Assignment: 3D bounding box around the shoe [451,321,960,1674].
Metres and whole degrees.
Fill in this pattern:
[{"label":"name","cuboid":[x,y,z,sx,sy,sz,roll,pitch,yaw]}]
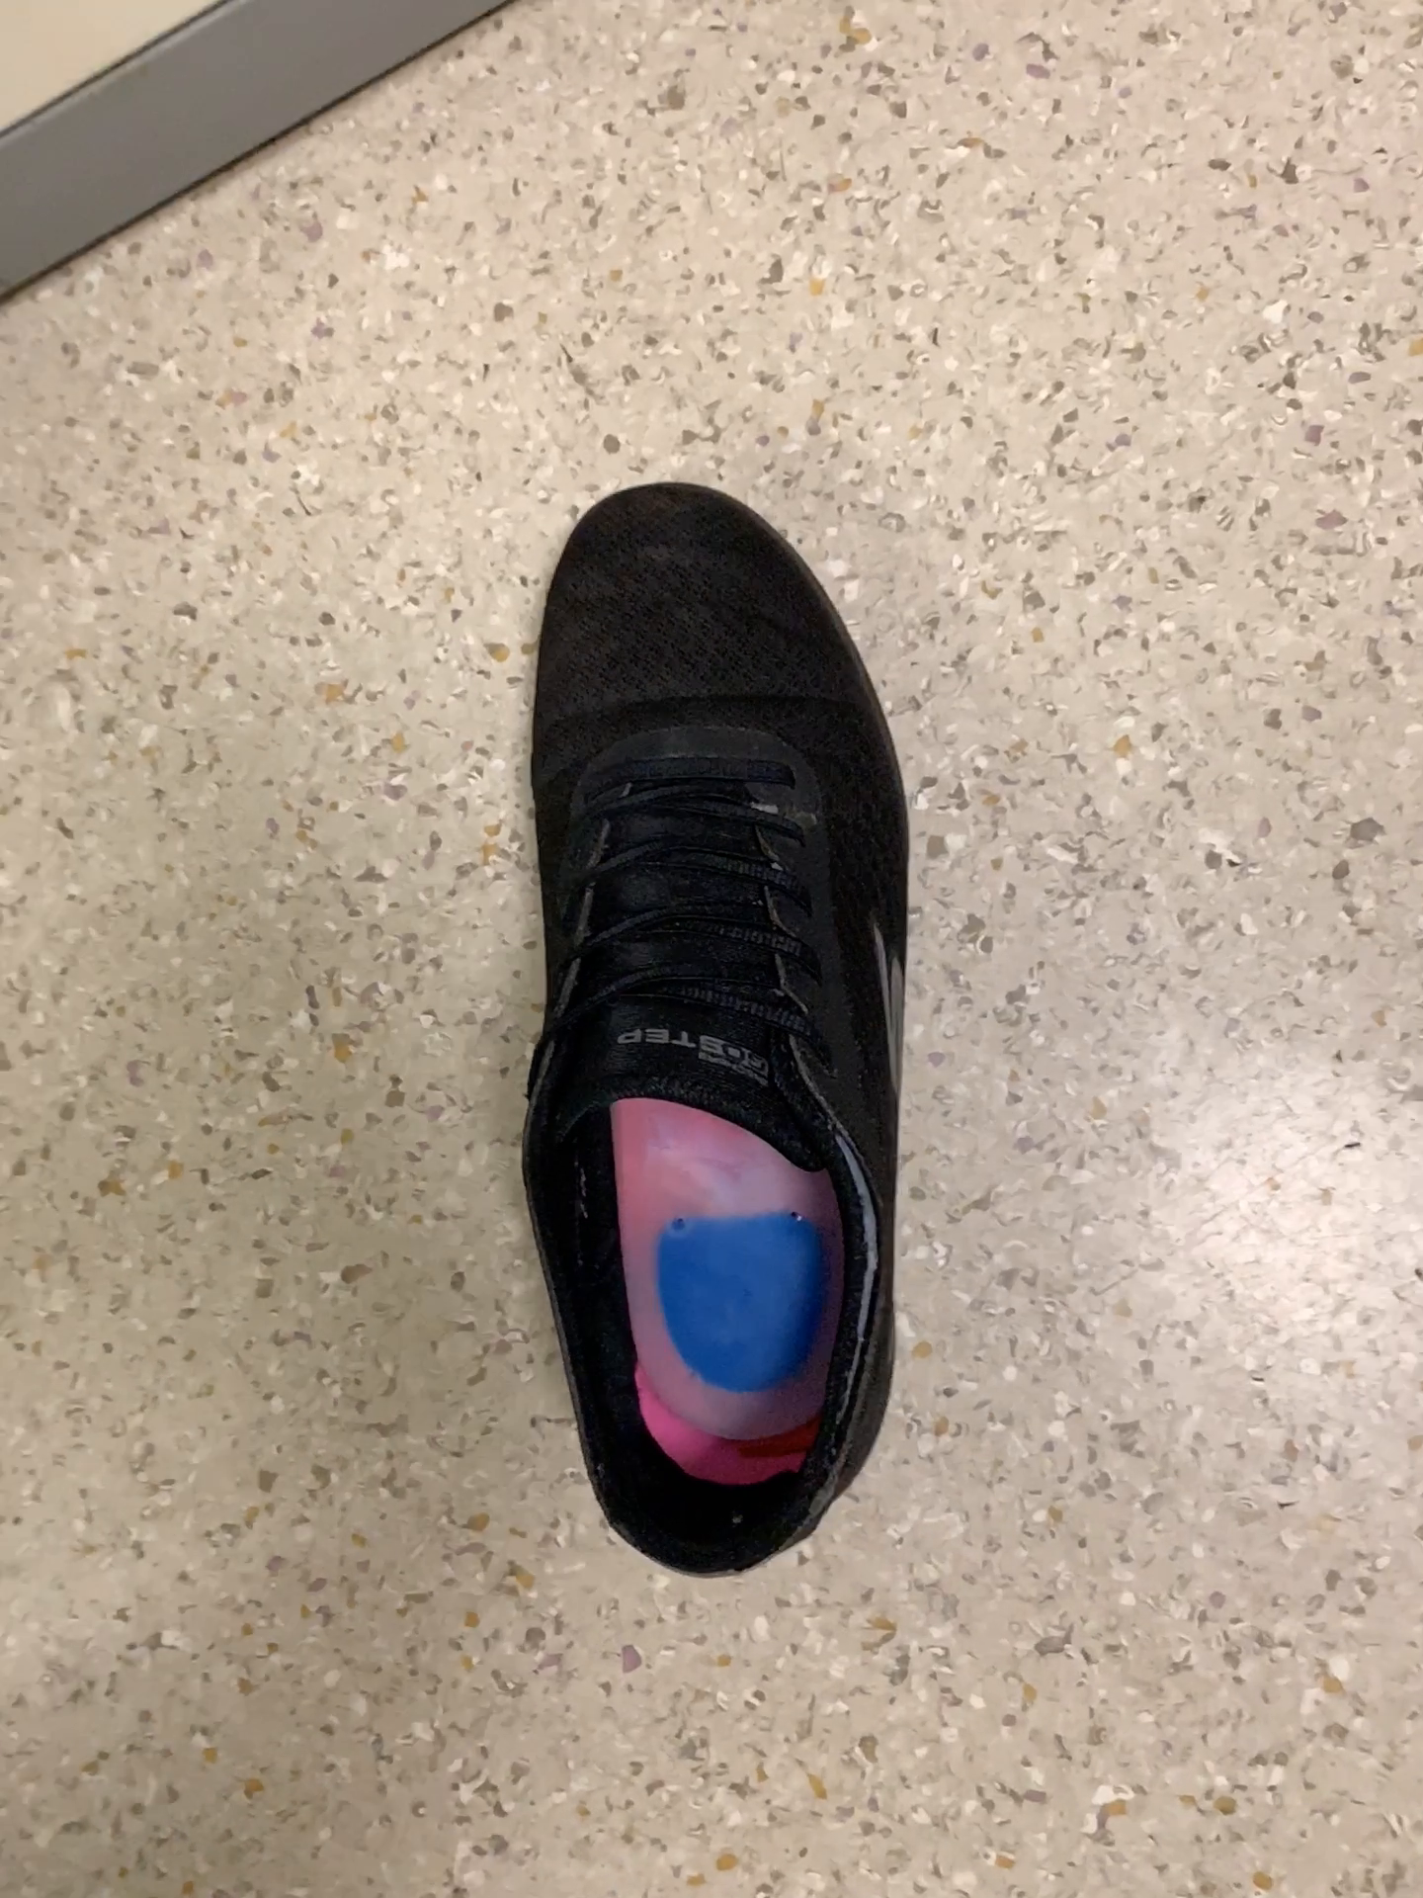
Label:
[{"label":"shoe","cuboid":[0.004,0.009,0.358,0.104,0.100,0.280,-1,85,8]}]
